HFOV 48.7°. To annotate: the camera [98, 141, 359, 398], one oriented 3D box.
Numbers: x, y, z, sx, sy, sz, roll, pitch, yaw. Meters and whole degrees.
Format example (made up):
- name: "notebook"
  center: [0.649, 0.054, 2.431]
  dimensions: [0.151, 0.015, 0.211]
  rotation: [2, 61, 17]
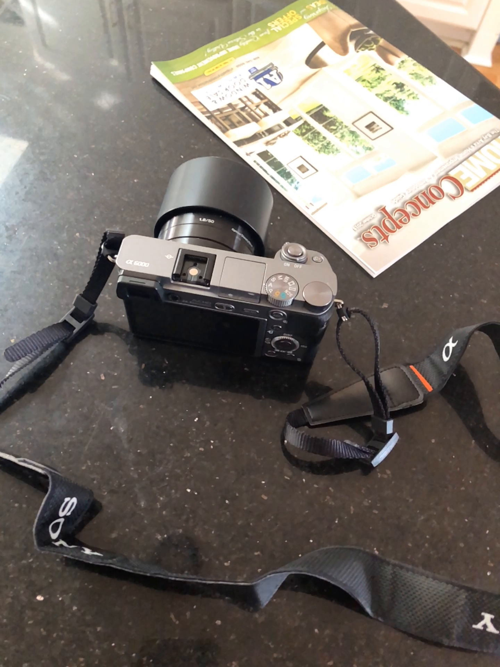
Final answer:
- name: "camera"
  center: [-0.010, -0.036, 0.346]
  dimensions: [0.127, 0.100, 0.100]
  rotation: [11, 60, 1]
